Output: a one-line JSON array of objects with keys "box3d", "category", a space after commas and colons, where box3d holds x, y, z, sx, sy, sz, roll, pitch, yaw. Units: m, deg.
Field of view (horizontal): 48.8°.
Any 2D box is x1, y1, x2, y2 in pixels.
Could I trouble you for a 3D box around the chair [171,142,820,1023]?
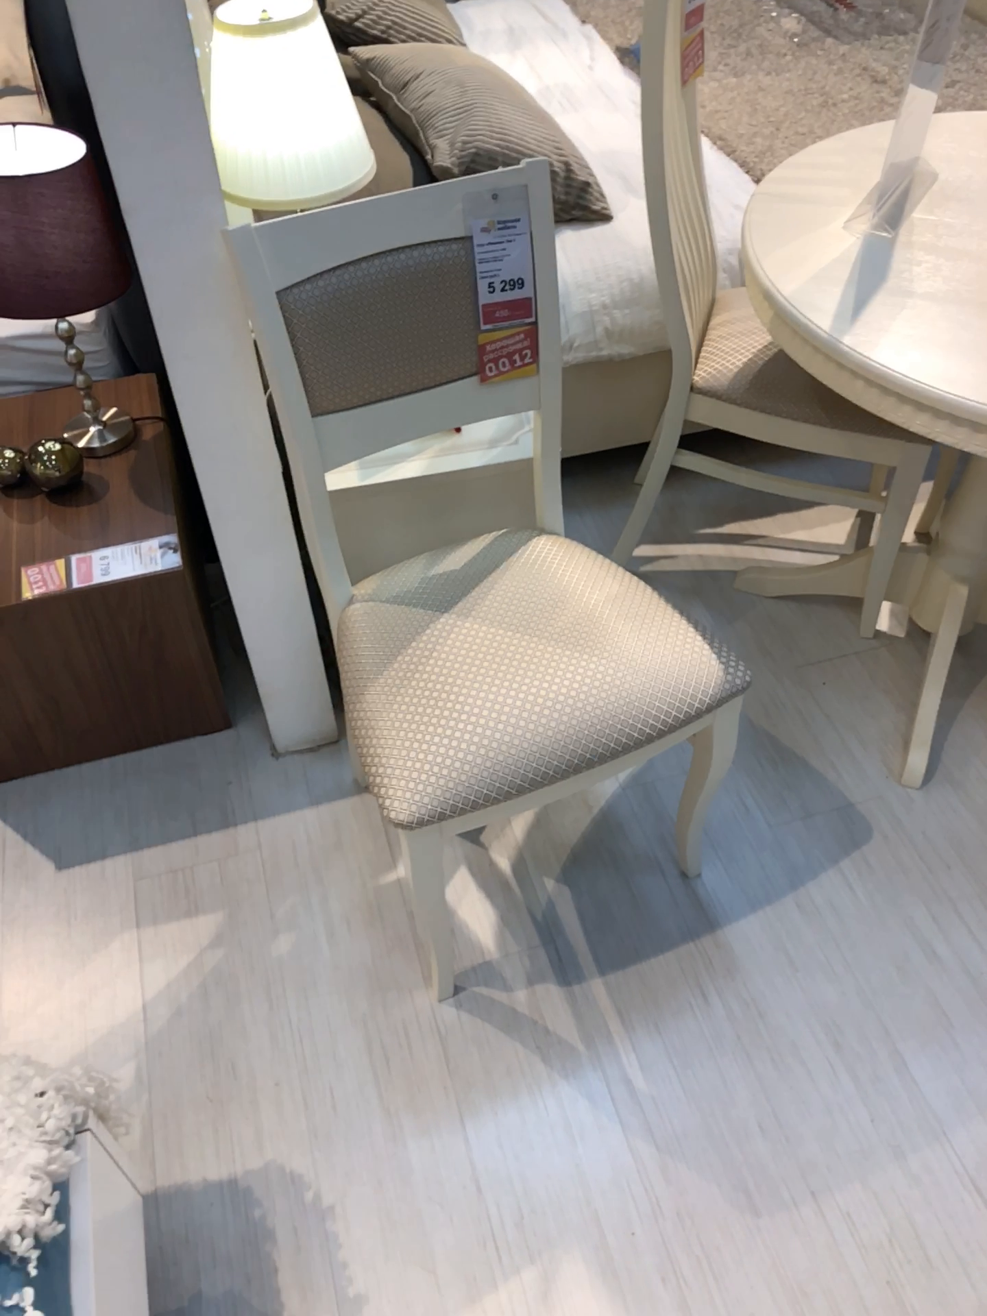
[{"box3d": [-0.009, -0.048, 1.402, 0.470, 0.946, 0.474, -21, 49, -17], "category": "chair"}]
